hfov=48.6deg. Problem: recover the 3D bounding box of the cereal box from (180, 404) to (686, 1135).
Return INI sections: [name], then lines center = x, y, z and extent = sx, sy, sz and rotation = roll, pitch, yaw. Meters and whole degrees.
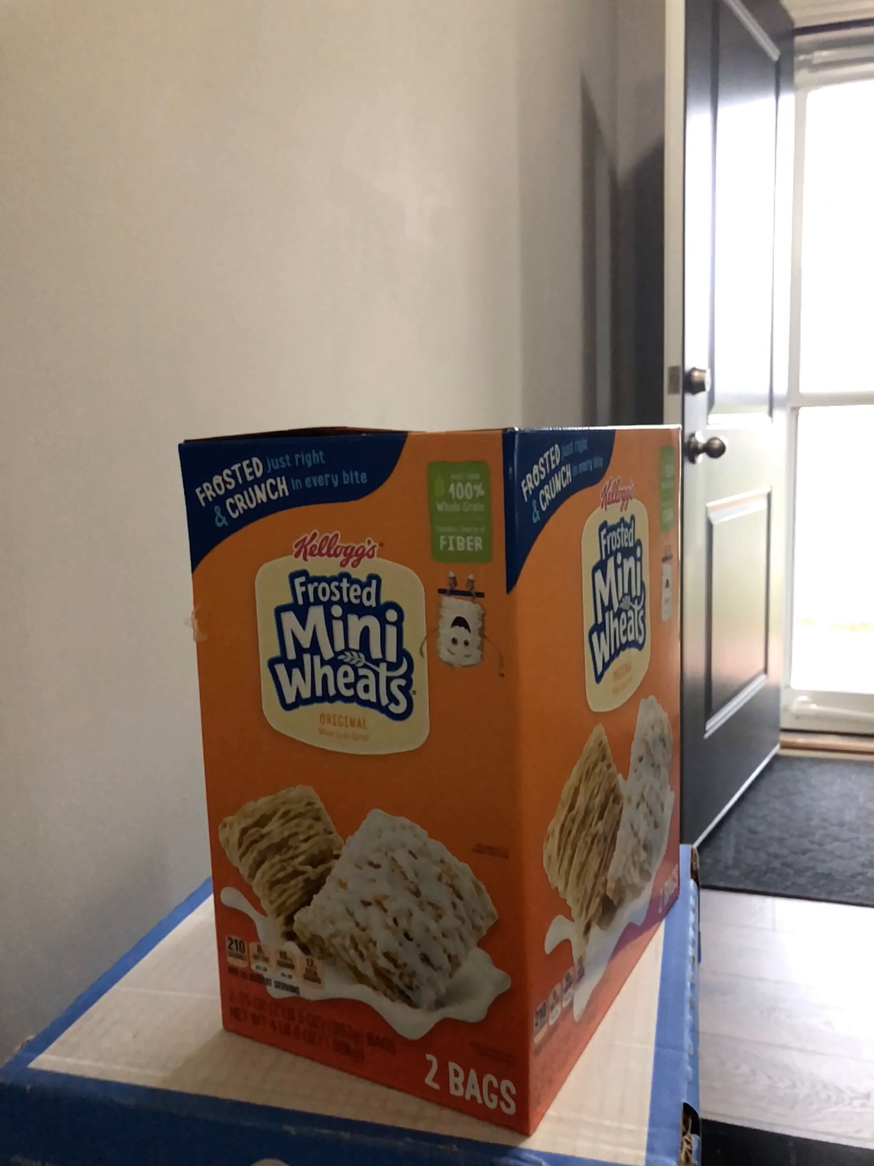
[cereal box]
center = 0.021, 0.057, 0.517
extent = 0.160, 0.290, 0.250
rotation = 3, 9, 28
